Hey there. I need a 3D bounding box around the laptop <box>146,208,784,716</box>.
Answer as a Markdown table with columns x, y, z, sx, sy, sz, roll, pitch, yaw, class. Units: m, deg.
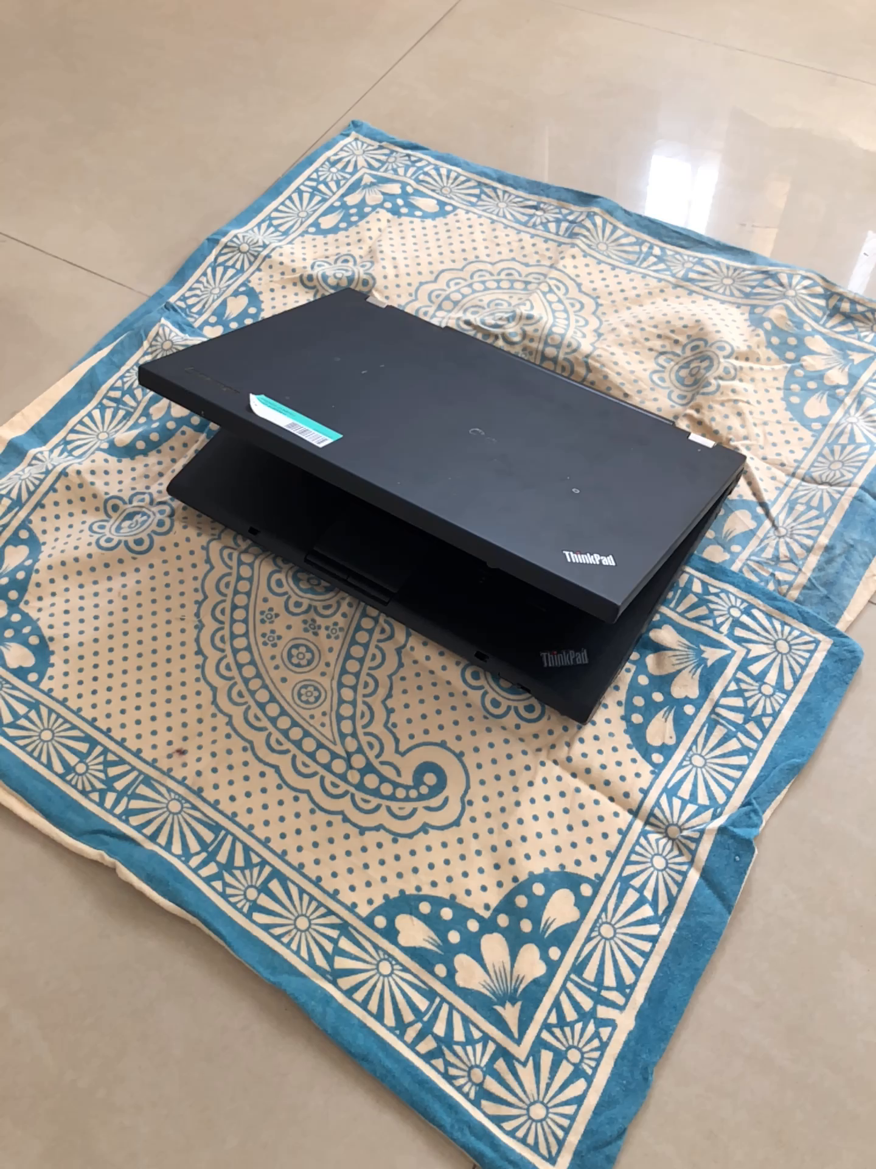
| x | y | z | sx | sy | sz | roll | pitch | yaw | class |
| --- | --- | --- | --- | --- | --- | --- | --- | --- | --- |
| 0.014 | -0.107 | 0.683 | 0.348 | 0.124 | 0.241 | 28 | 62 | 25 | laptop |
